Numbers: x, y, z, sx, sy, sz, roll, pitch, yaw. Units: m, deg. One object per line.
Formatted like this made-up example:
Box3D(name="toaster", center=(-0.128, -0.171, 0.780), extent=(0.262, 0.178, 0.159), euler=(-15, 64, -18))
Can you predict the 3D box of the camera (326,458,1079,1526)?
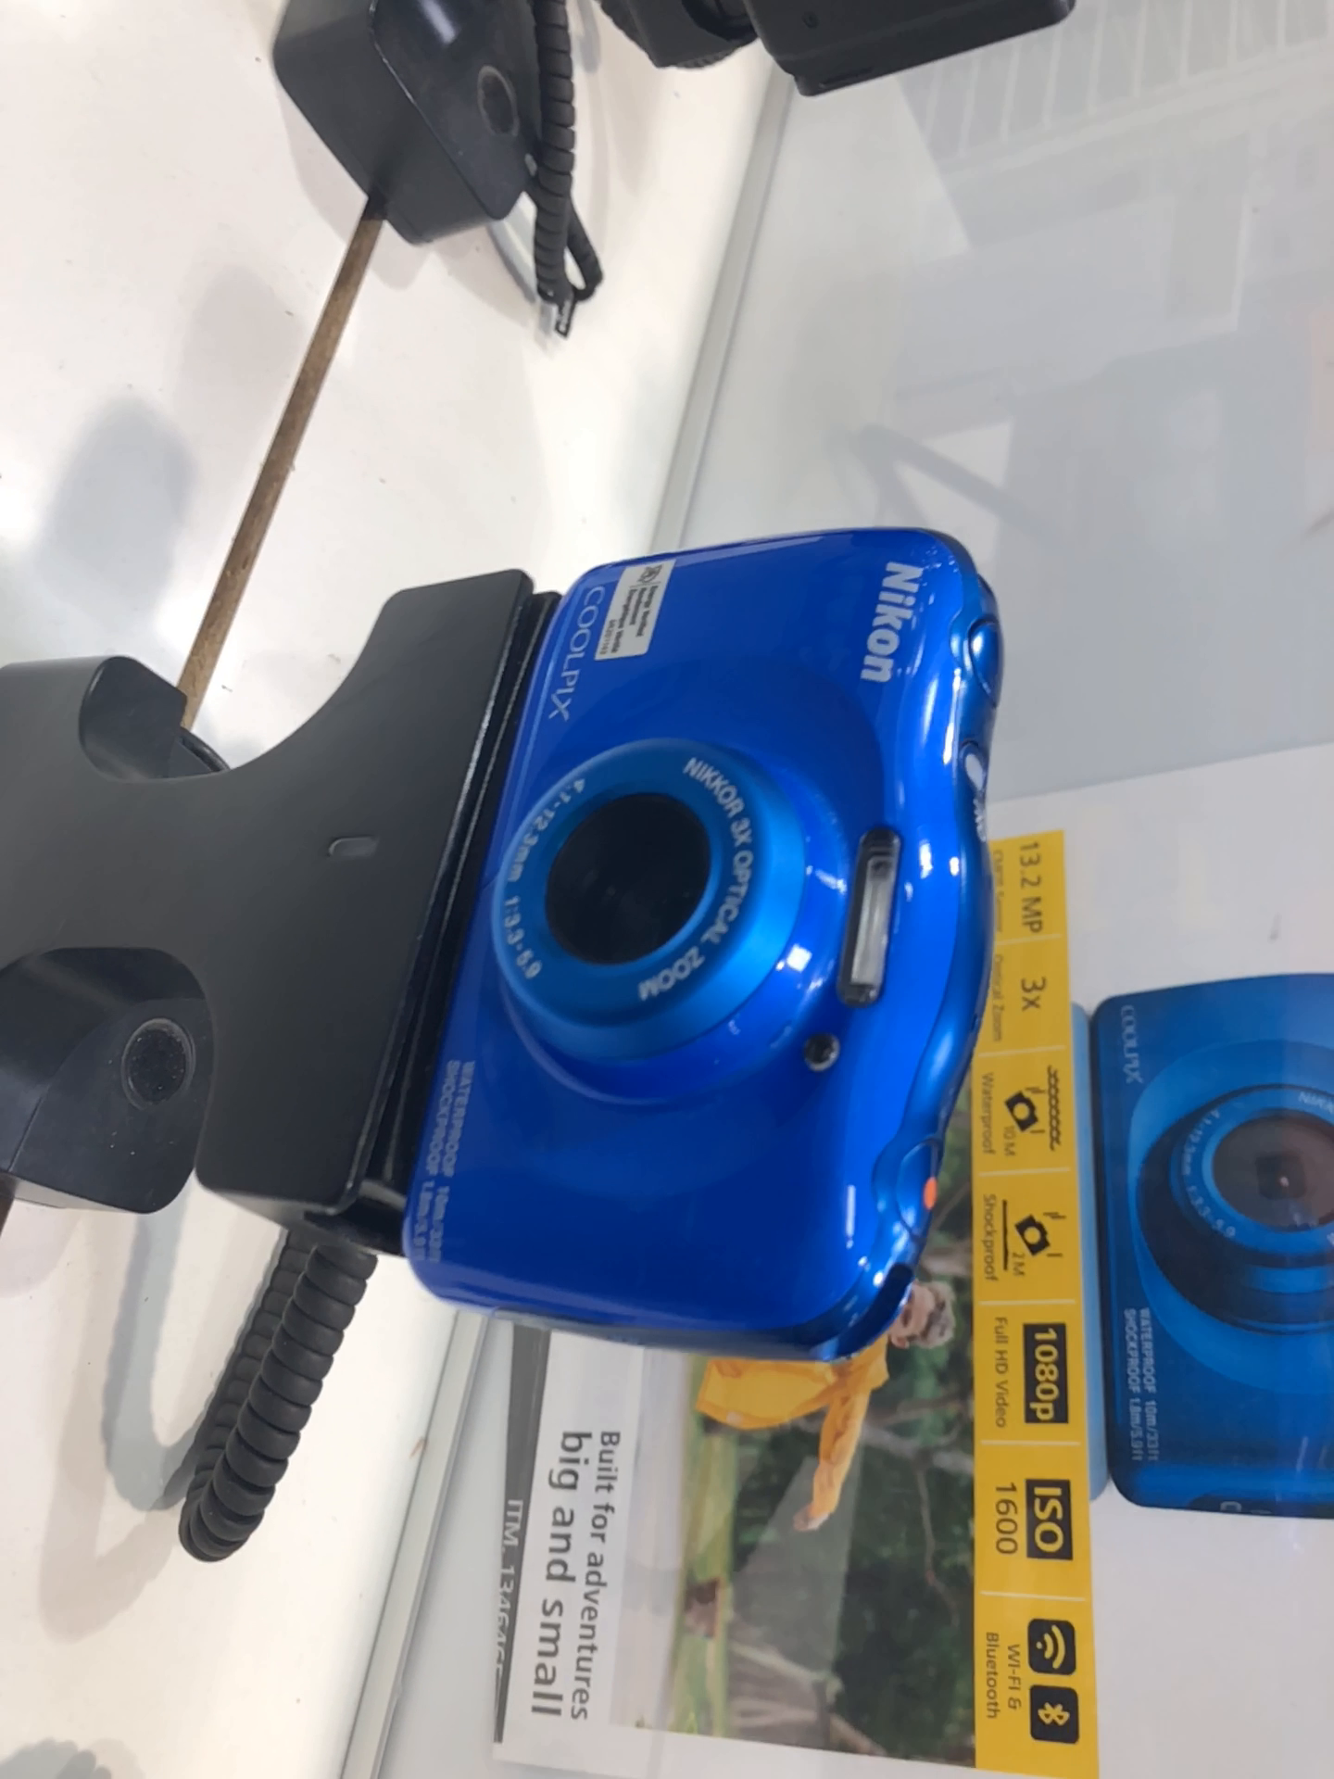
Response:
Box3D(name="camera", center=(0.012, 0.012, 0.212), extent=(0.050, 0.070, 0.130), euler=(43, 51, -51))
